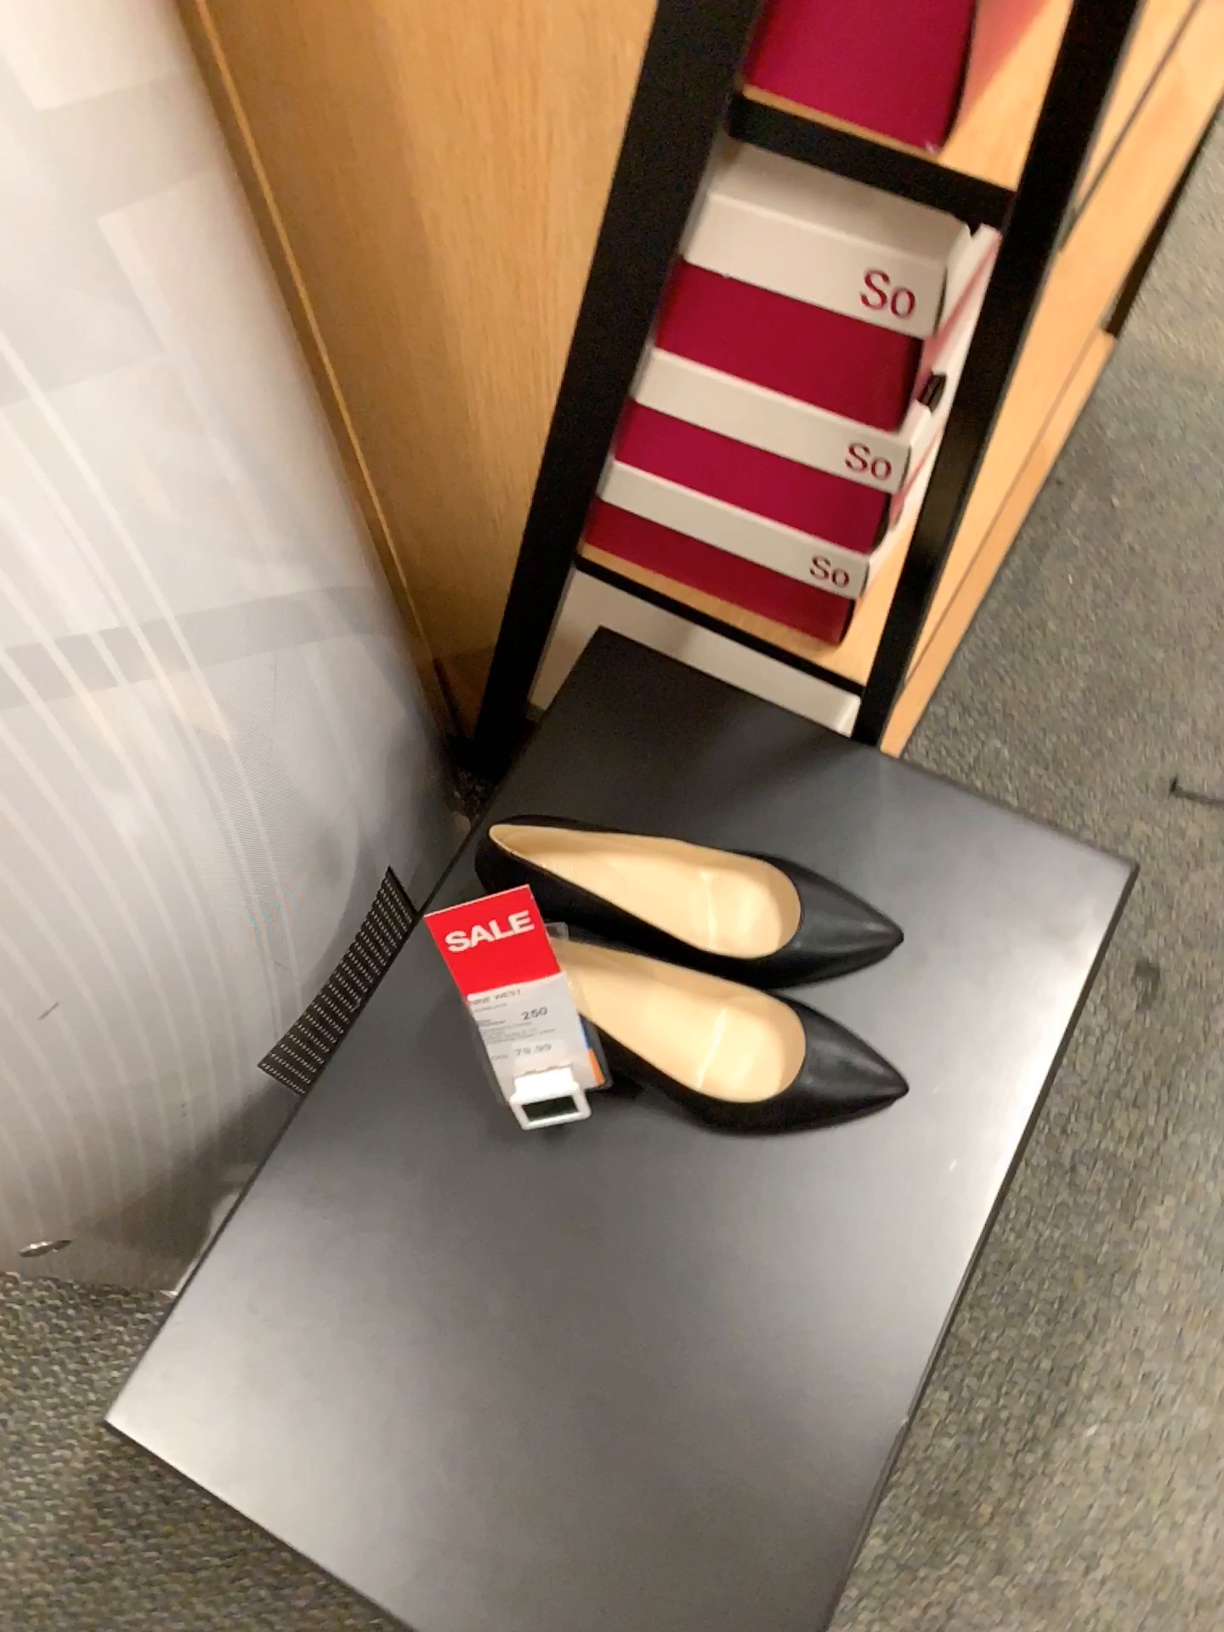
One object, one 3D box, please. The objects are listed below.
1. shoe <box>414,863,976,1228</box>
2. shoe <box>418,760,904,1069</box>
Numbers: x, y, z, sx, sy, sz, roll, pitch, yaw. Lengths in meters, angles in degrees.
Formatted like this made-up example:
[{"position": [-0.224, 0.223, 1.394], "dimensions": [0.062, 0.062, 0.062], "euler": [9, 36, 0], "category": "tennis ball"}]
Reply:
[{"position": [0.044, 0.133, 0.683], "dimensions": [0.250, 0.190, 0.100], "euler": [13, 68, 8], "category": "shoe"}, {"position": [0.032, 0.067, 0.762], "dimensions": [0.250, 0.190, 0.100], "euler": [7, 68, 6], "category": "shoe"}]
